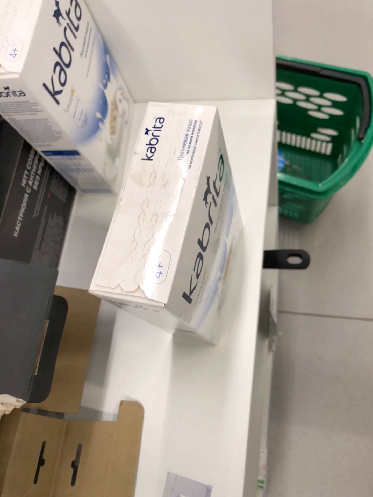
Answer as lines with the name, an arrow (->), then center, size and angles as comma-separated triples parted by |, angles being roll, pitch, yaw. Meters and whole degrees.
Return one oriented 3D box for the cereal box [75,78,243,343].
cereal box -> 0.000, -0.008, 0.349 | 0.050, 0.220, 0.140 | 9, 74, 16
